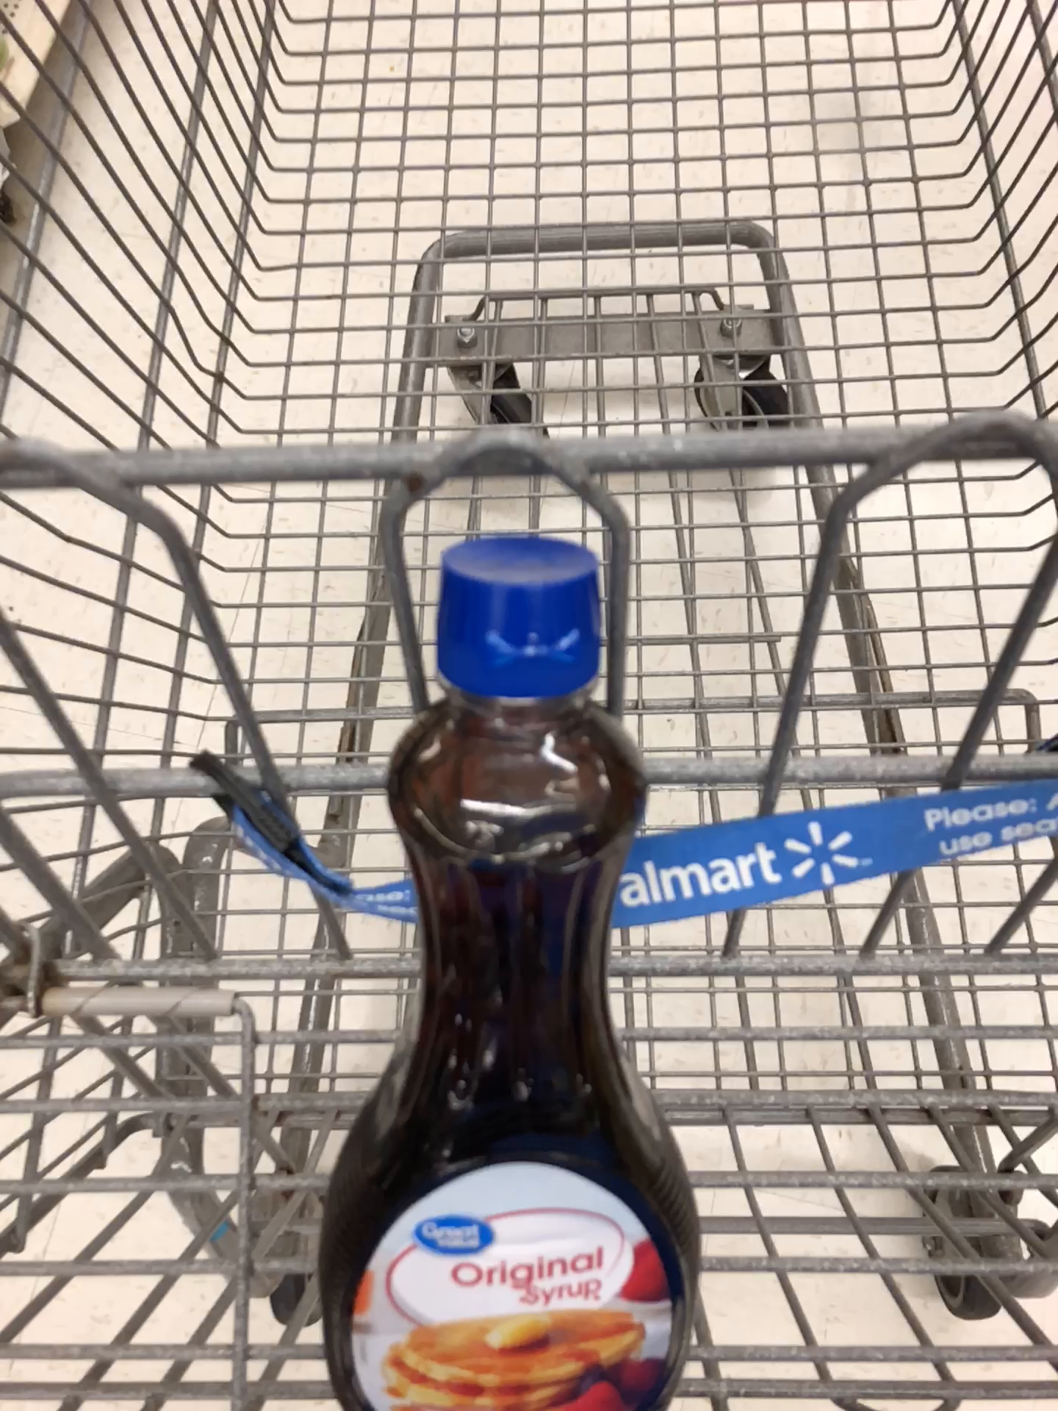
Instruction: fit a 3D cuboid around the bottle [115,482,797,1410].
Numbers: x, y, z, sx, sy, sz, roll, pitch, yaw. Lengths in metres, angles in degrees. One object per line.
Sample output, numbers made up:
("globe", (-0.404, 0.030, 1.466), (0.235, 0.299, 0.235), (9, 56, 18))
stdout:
("bottle", (-0.011, 0.078, 0.284), (0.120, 0.070, 0.250), (1, 112, 3))
